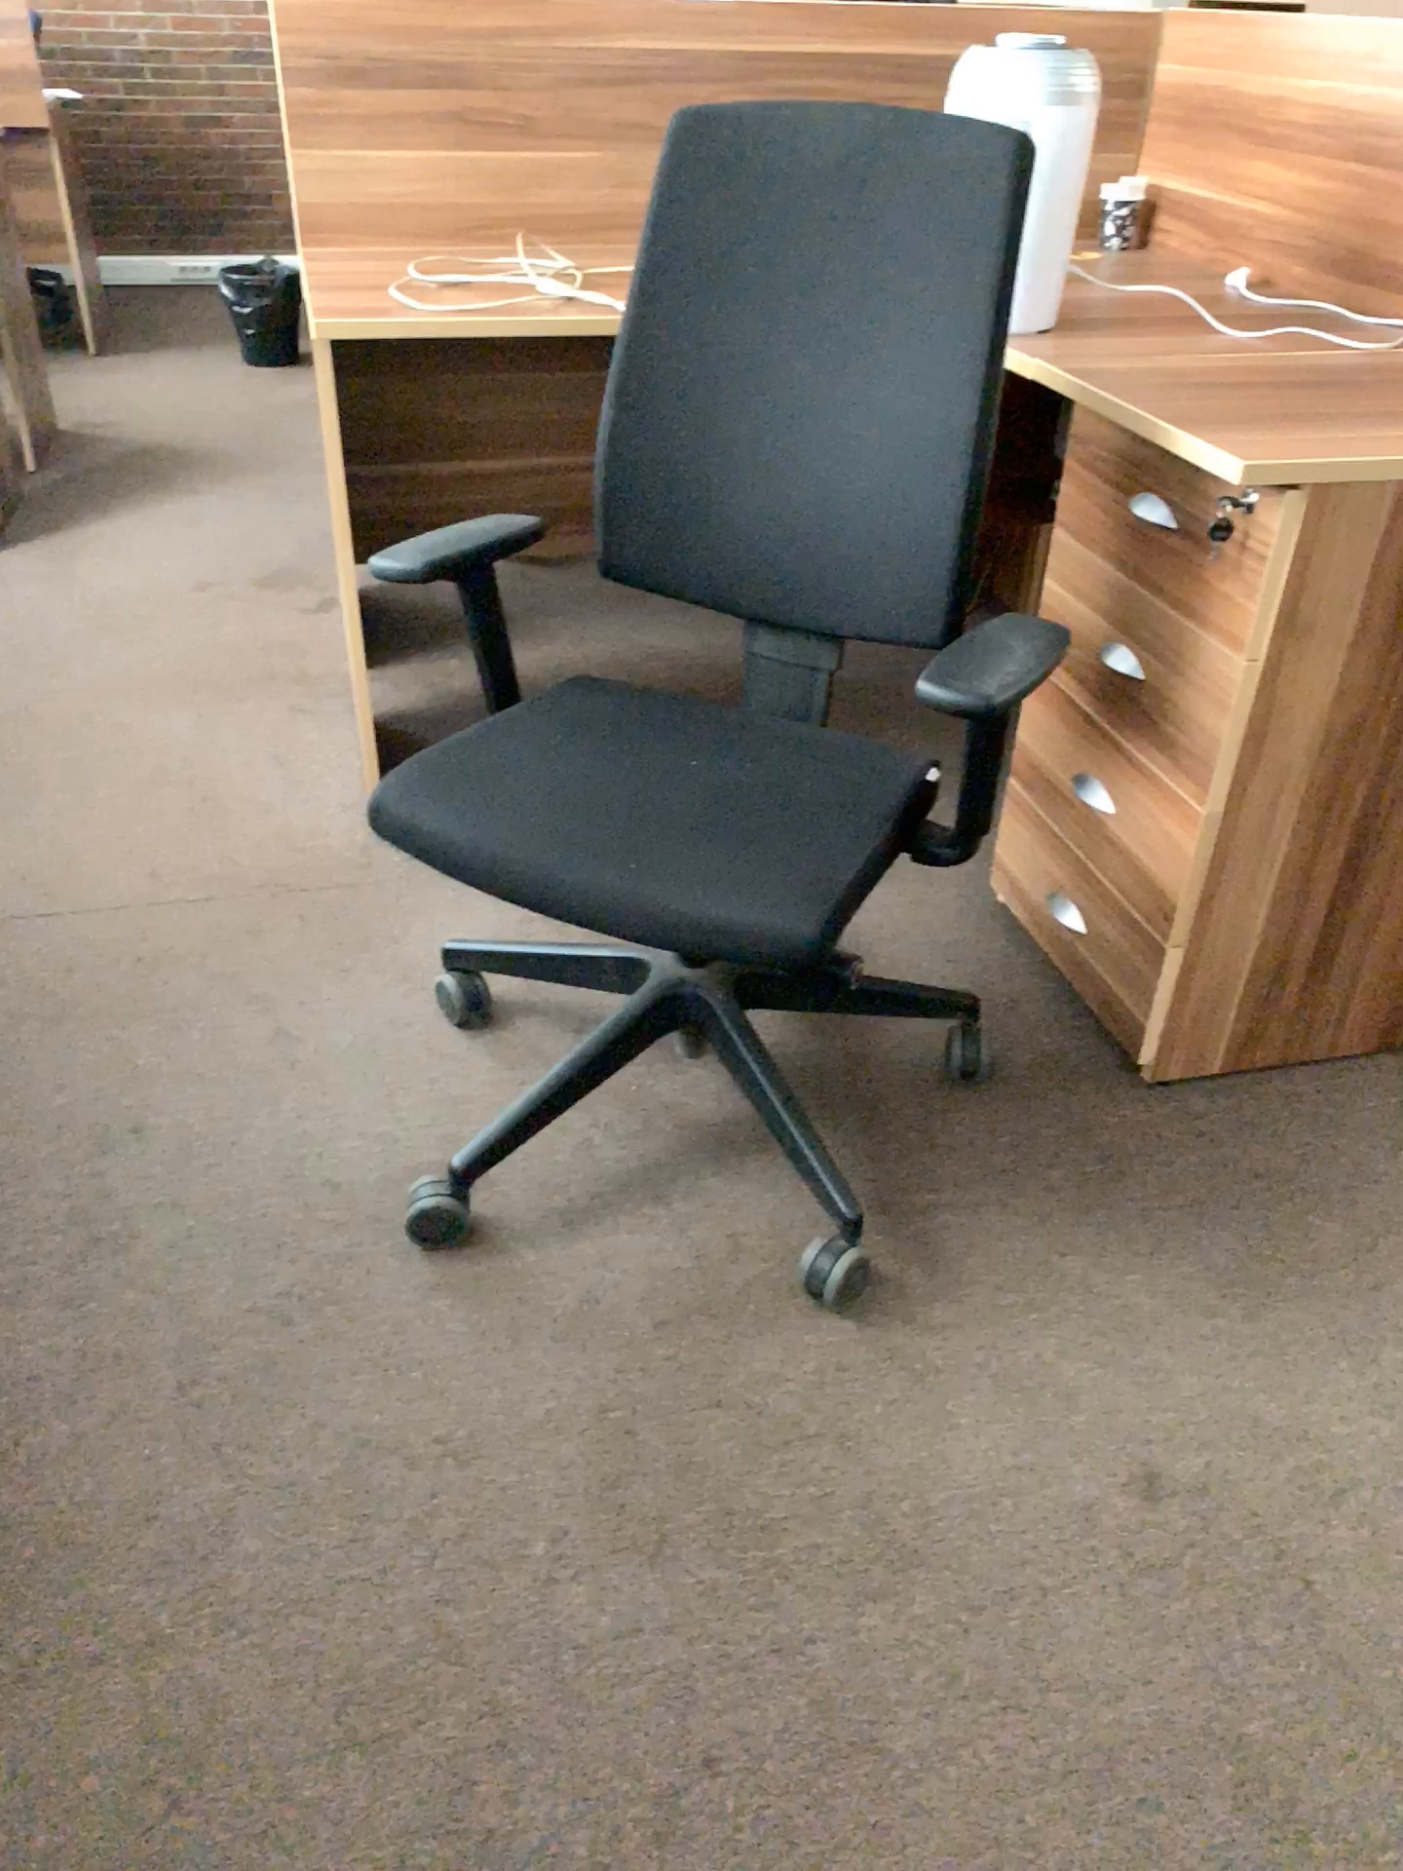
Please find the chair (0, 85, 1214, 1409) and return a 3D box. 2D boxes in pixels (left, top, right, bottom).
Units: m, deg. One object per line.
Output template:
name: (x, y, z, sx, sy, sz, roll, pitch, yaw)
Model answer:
chair: (-0.020, -0.264, 1.387, 0.671, 0.915, 0.793, 17, 36, 22)
